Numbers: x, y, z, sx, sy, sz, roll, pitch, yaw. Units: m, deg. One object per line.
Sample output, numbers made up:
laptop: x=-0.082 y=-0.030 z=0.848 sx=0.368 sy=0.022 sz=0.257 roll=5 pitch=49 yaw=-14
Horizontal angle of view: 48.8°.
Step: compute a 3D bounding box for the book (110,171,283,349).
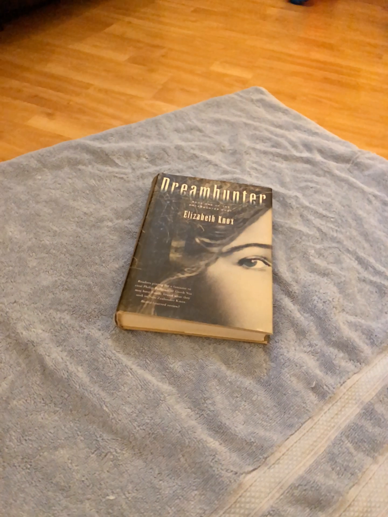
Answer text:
book: x=0.014 y=-0.013 z=0.489 sx=0.163 sy=0.030 sz=0.226 roll=8 pitch=46 yaw=1
